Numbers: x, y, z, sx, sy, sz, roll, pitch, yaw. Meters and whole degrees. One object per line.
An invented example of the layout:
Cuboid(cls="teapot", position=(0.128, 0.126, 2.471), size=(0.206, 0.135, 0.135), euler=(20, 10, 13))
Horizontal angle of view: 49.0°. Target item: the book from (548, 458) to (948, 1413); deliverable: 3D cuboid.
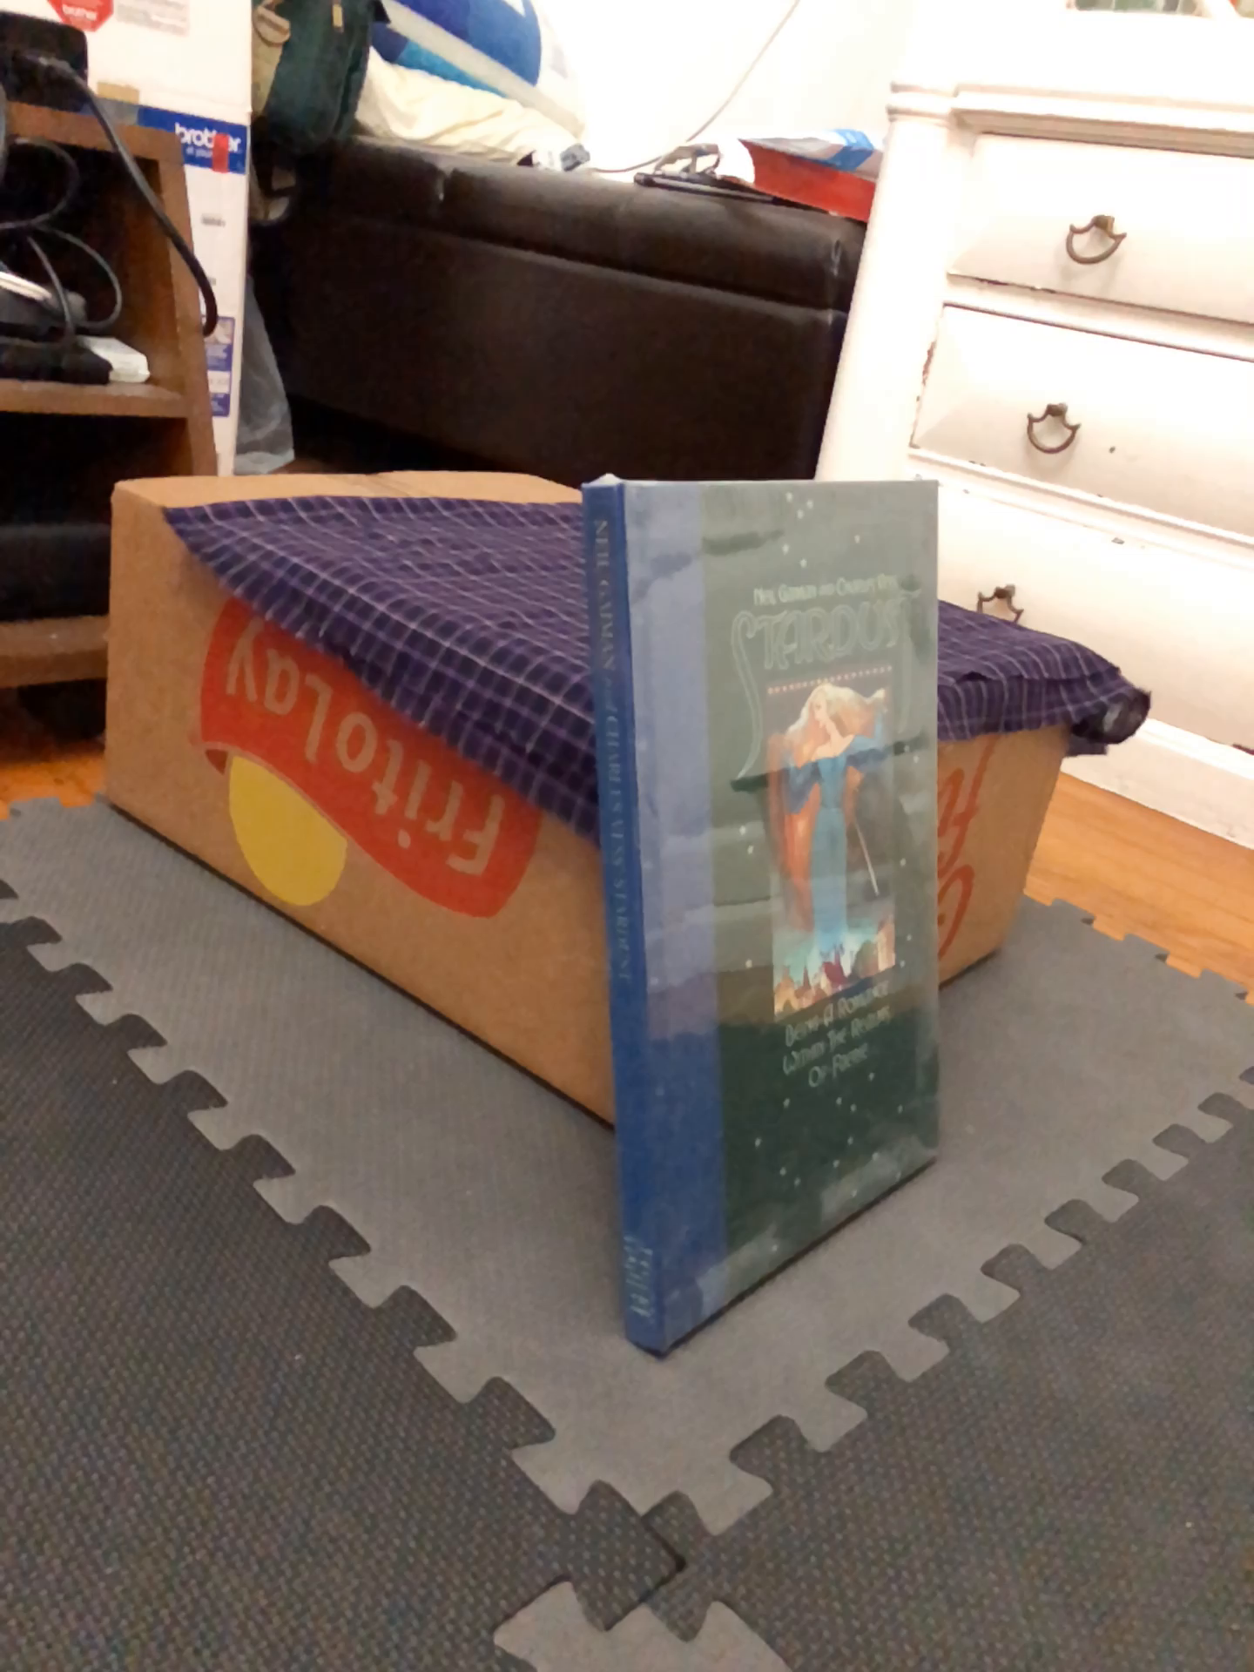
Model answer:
Cuboid(cls="book", position=(0.063, 0.023, 0.541), size=(0.020, 0.329, 0.211), euler=(7, 16, 41))
